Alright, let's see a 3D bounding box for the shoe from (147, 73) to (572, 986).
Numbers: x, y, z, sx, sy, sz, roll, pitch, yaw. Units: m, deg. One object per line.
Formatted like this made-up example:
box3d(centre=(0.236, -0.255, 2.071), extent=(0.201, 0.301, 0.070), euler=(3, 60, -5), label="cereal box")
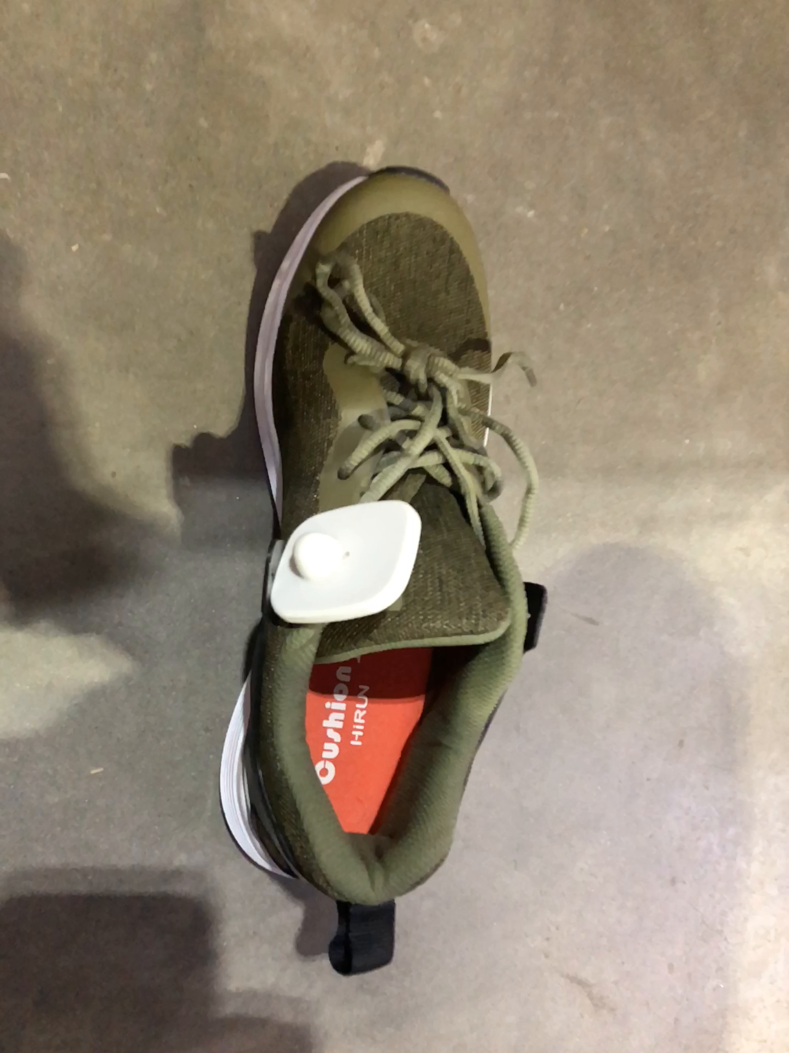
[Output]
box3d(centre=(-0.017, 0.003, 0.344), extent=(0.120, 0.100, 0.290), euler=(6, 86, -24), label="shoe")
